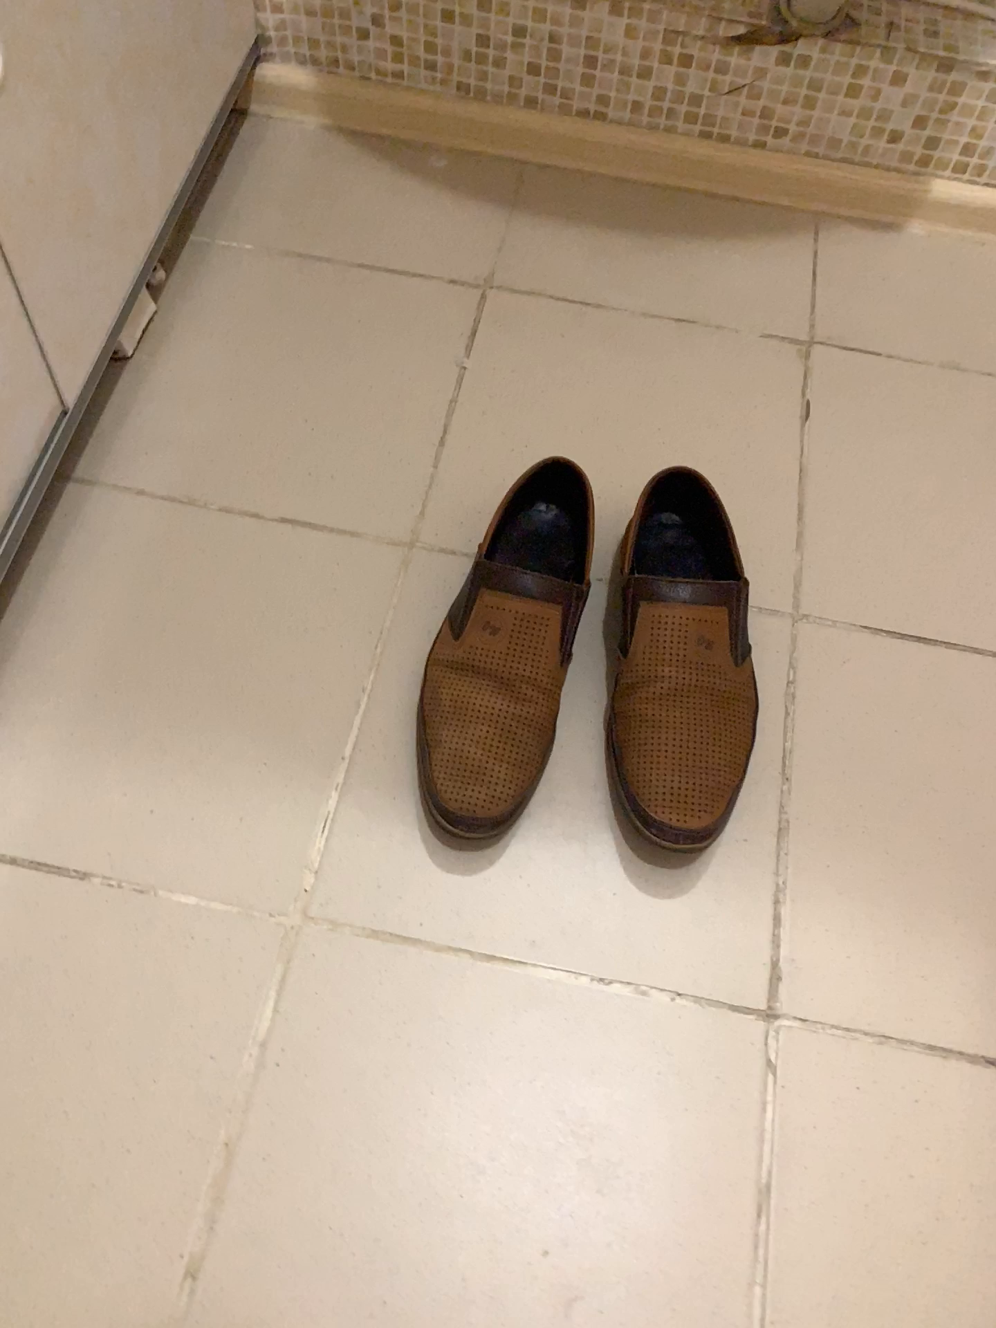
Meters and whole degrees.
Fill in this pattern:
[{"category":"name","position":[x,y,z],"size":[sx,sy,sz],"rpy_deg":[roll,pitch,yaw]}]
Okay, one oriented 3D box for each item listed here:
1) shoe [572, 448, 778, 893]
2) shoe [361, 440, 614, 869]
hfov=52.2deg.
[{"category":"shoe","position":[0.123,-0.003,0.705],"size":[0.110,0.090,0.291],"rpy_deg":[7,60,1]},{"category":"shoe","position":[-0.001,-0.014,0.685],"size":[0.110,0.080,0.271],"rpy_deg":[11,60,3]}]
